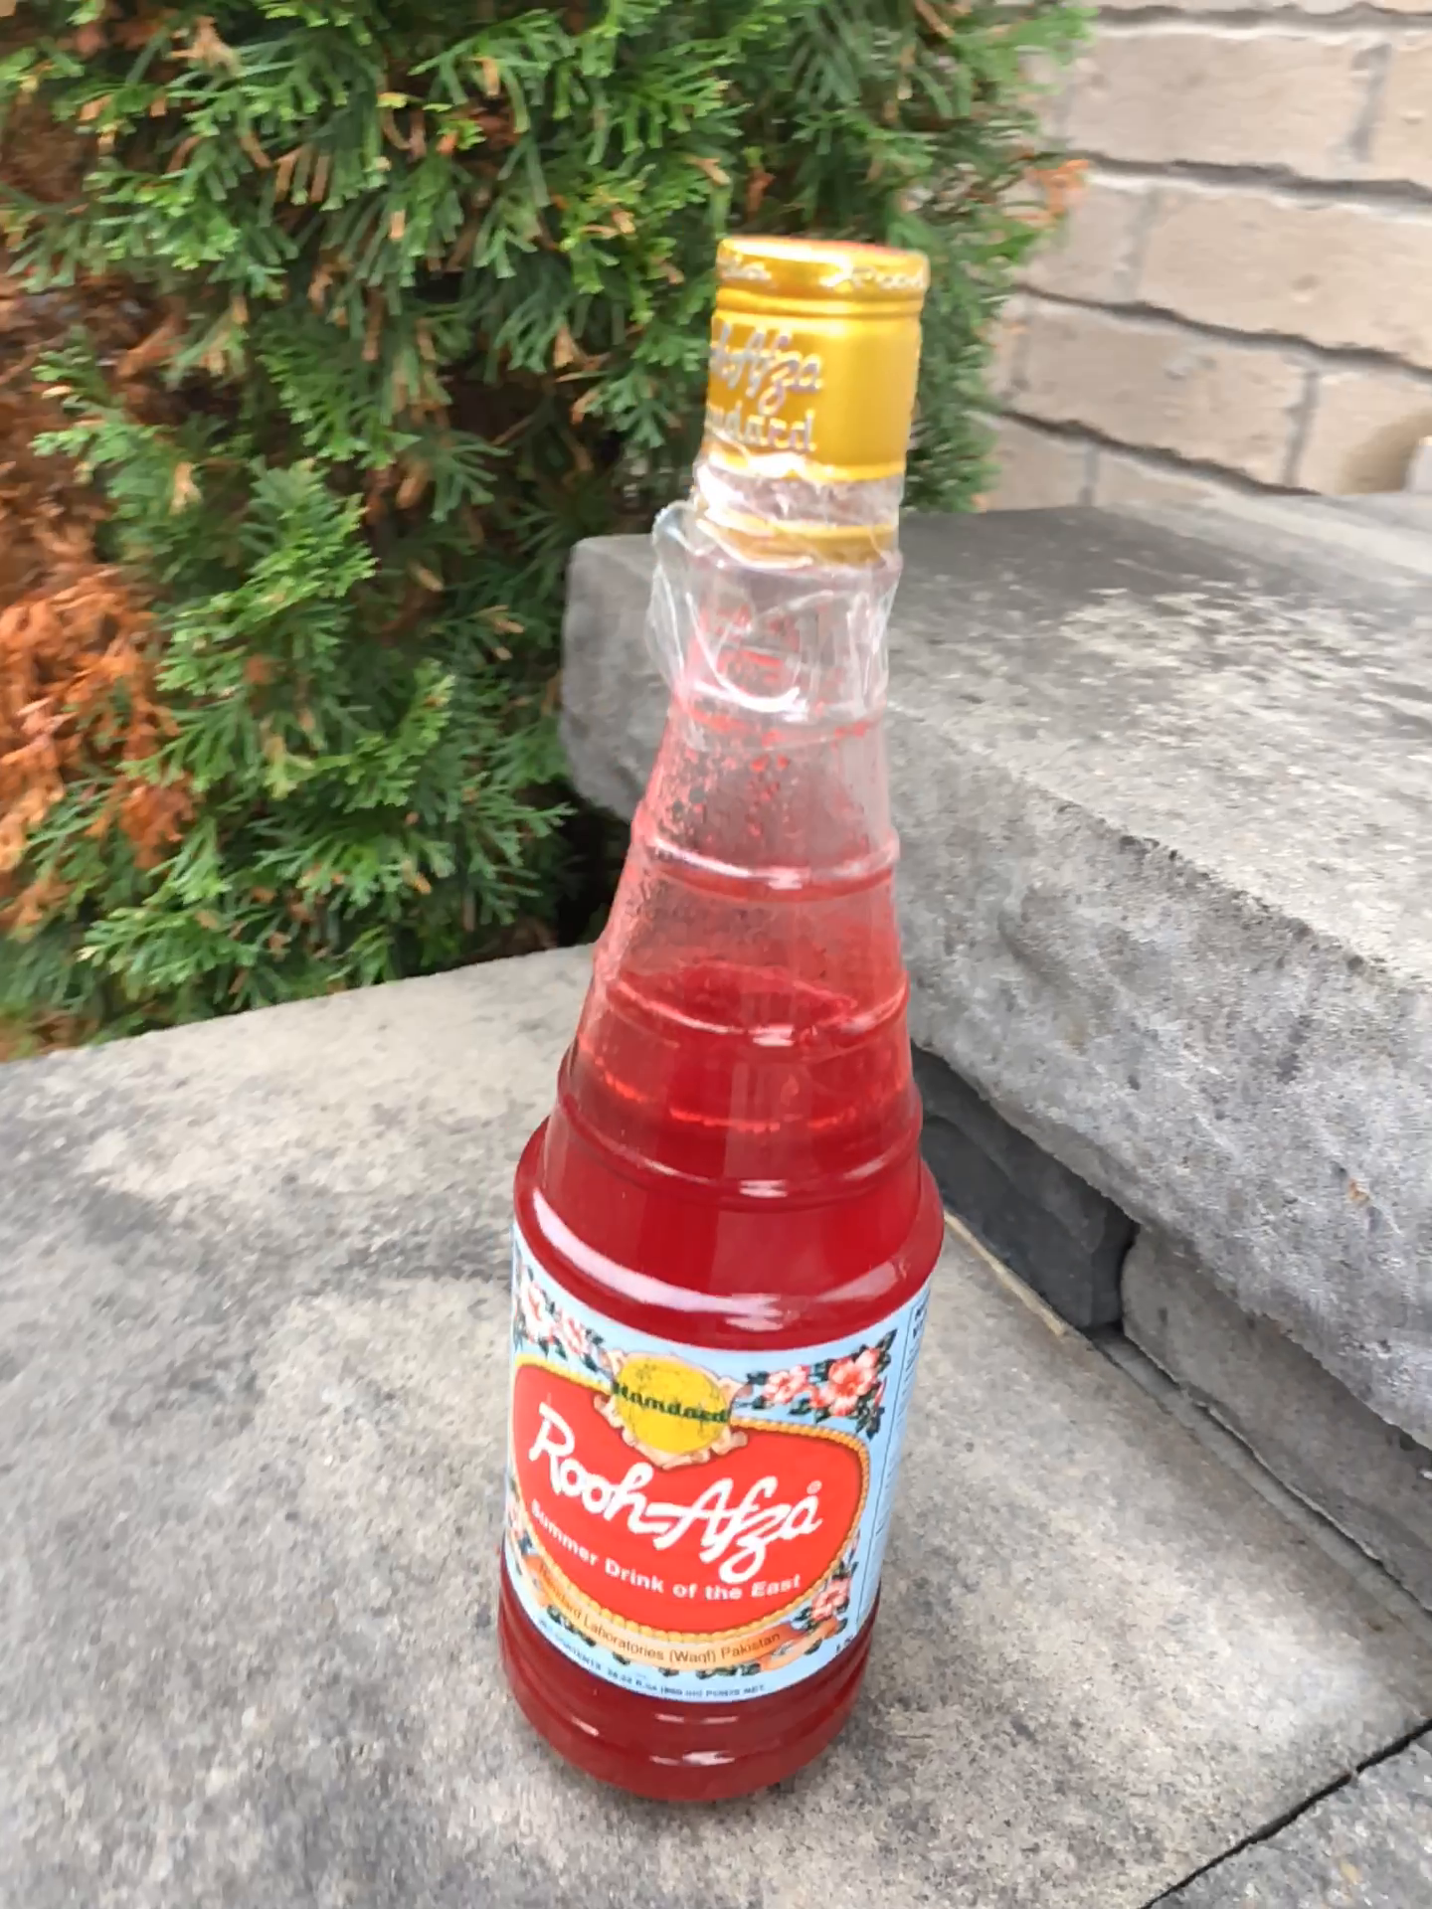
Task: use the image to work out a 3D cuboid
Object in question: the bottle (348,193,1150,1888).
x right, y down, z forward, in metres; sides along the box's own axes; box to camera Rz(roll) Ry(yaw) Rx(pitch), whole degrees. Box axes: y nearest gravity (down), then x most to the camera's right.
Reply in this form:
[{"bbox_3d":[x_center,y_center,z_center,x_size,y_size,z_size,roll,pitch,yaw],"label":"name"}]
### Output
[{"bbox_3d":[-0.001,0.025,0.280,0.090,0.279,0.080,13,28,14],"label":"bottle"}]
